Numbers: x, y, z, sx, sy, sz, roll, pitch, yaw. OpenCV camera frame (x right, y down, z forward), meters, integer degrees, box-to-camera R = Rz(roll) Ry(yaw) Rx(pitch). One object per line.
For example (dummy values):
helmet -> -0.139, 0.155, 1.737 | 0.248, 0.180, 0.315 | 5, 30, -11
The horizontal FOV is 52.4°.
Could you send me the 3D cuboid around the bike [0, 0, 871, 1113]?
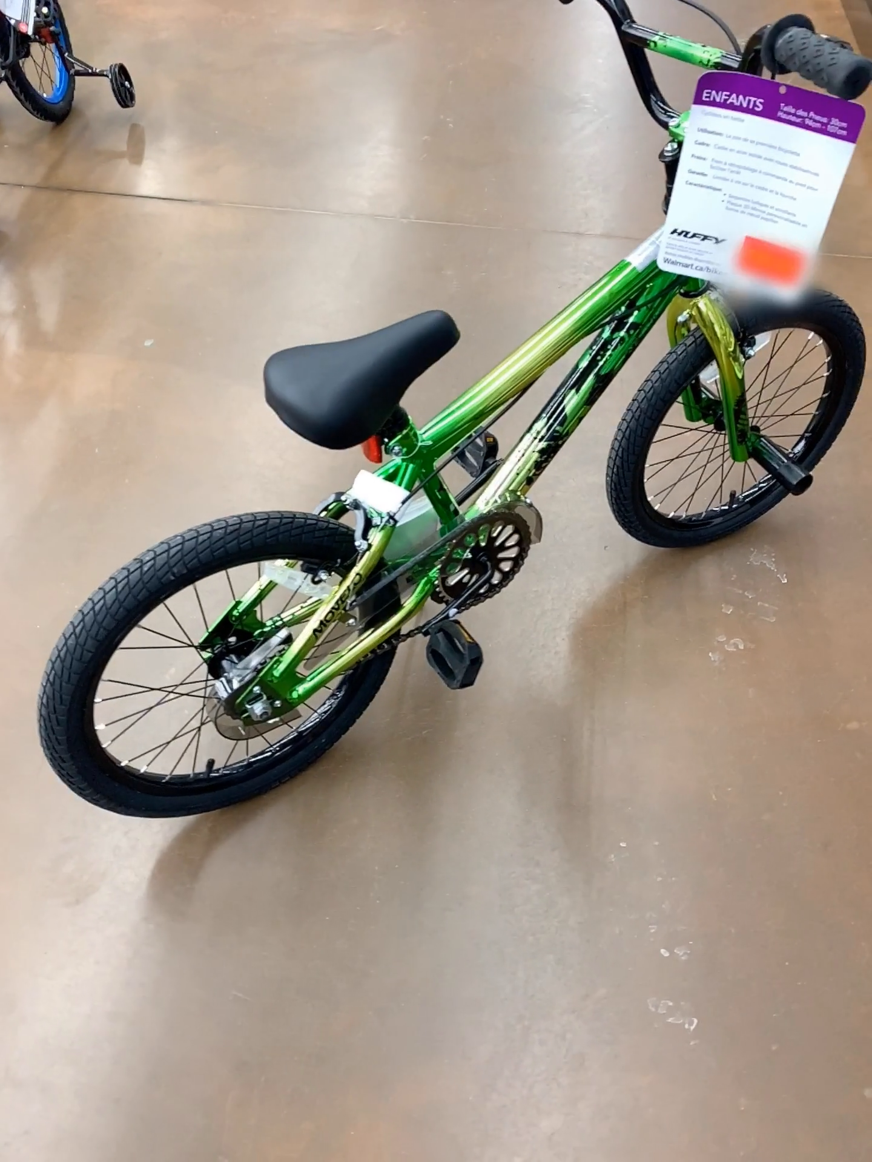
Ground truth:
bike -> 0.207, -0.193, 1.071 | 1.406, 1.035, 0.719 | -28, 54, -14
